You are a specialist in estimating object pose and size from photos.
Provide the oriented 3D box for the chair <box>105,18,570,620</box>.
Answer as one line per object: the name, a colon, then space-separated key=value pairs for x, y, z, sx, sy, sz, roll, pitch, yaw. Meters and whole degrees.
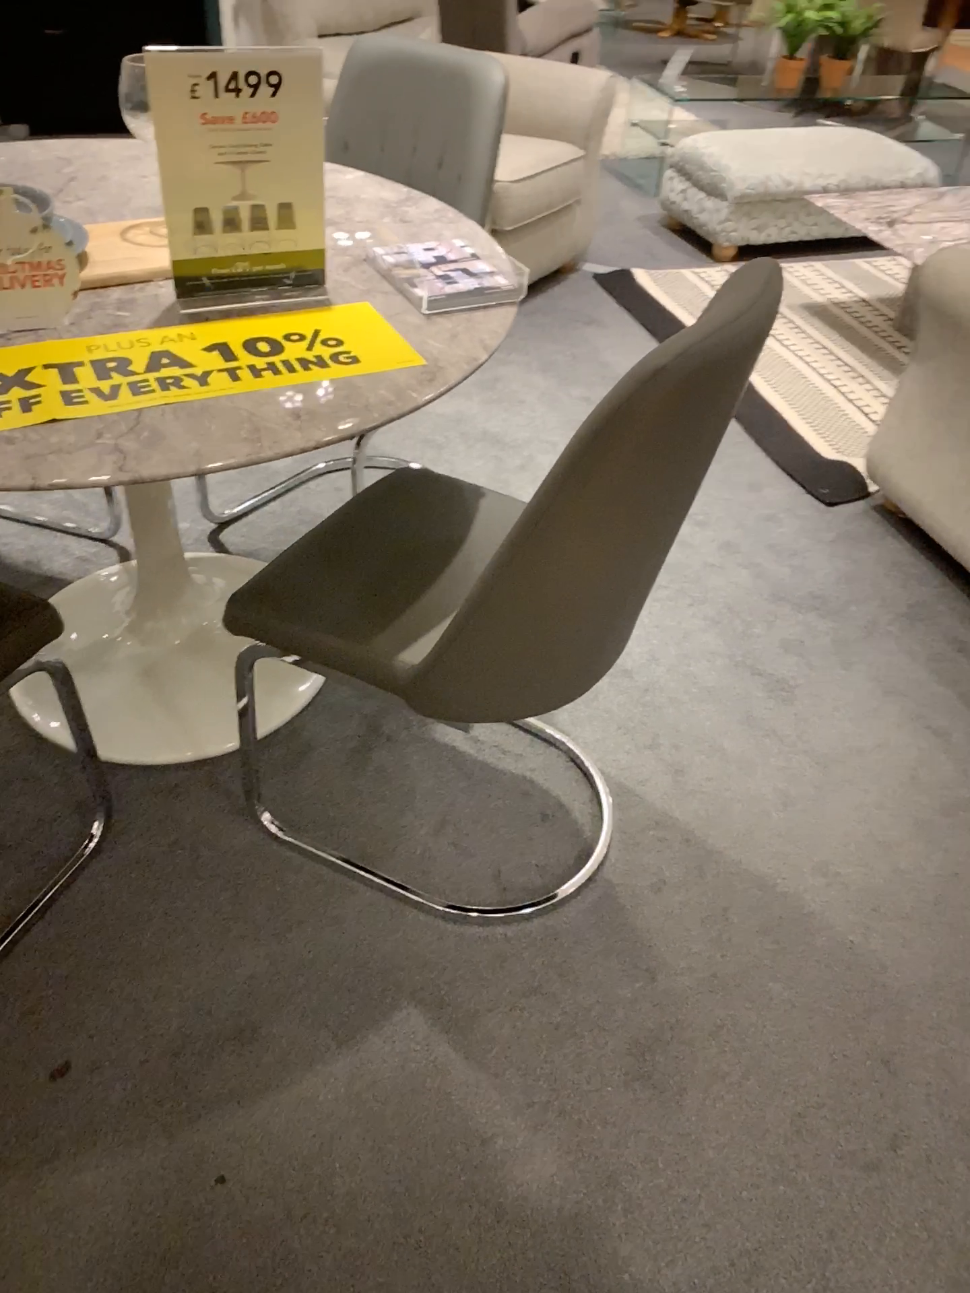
chair: x=-0.251 y=-0.643 z=1.931 sx=0.521 sy=0.883 sz=0.582 roll=24 pitch=44 yaw=21

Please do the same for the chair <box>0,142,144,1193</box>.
chair: x=-0.846 y=0.028 z=1.095 sx=0.521 sy=0.883 sz=0.583 roll=17 pitch=42 yaw=14

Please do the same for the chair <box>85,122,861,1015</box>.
chair: x=-0.011 y=-0.112 z=1.331 sx=0.630 sy=0.883 sz=0.554 roll=23 pitch=44 yaw=21
